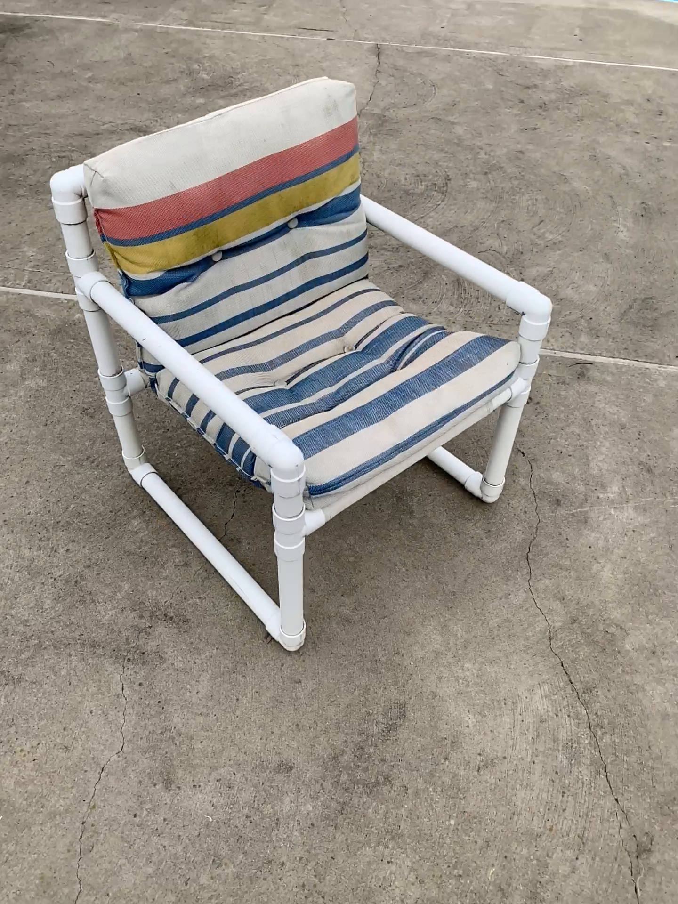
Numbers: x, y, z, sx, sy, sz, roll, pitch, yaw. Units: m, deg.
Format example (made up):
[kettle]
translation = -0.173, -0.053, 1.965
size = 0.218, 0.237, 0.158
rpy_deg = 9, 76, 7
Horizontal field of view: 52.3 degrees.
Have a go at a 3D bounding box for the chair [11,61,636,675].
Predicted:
[chair]
translation = -0.046, -0.184, 1.275
size = 0.651, 0.686, 0.673
rpy_deg = -31, 56, -27
